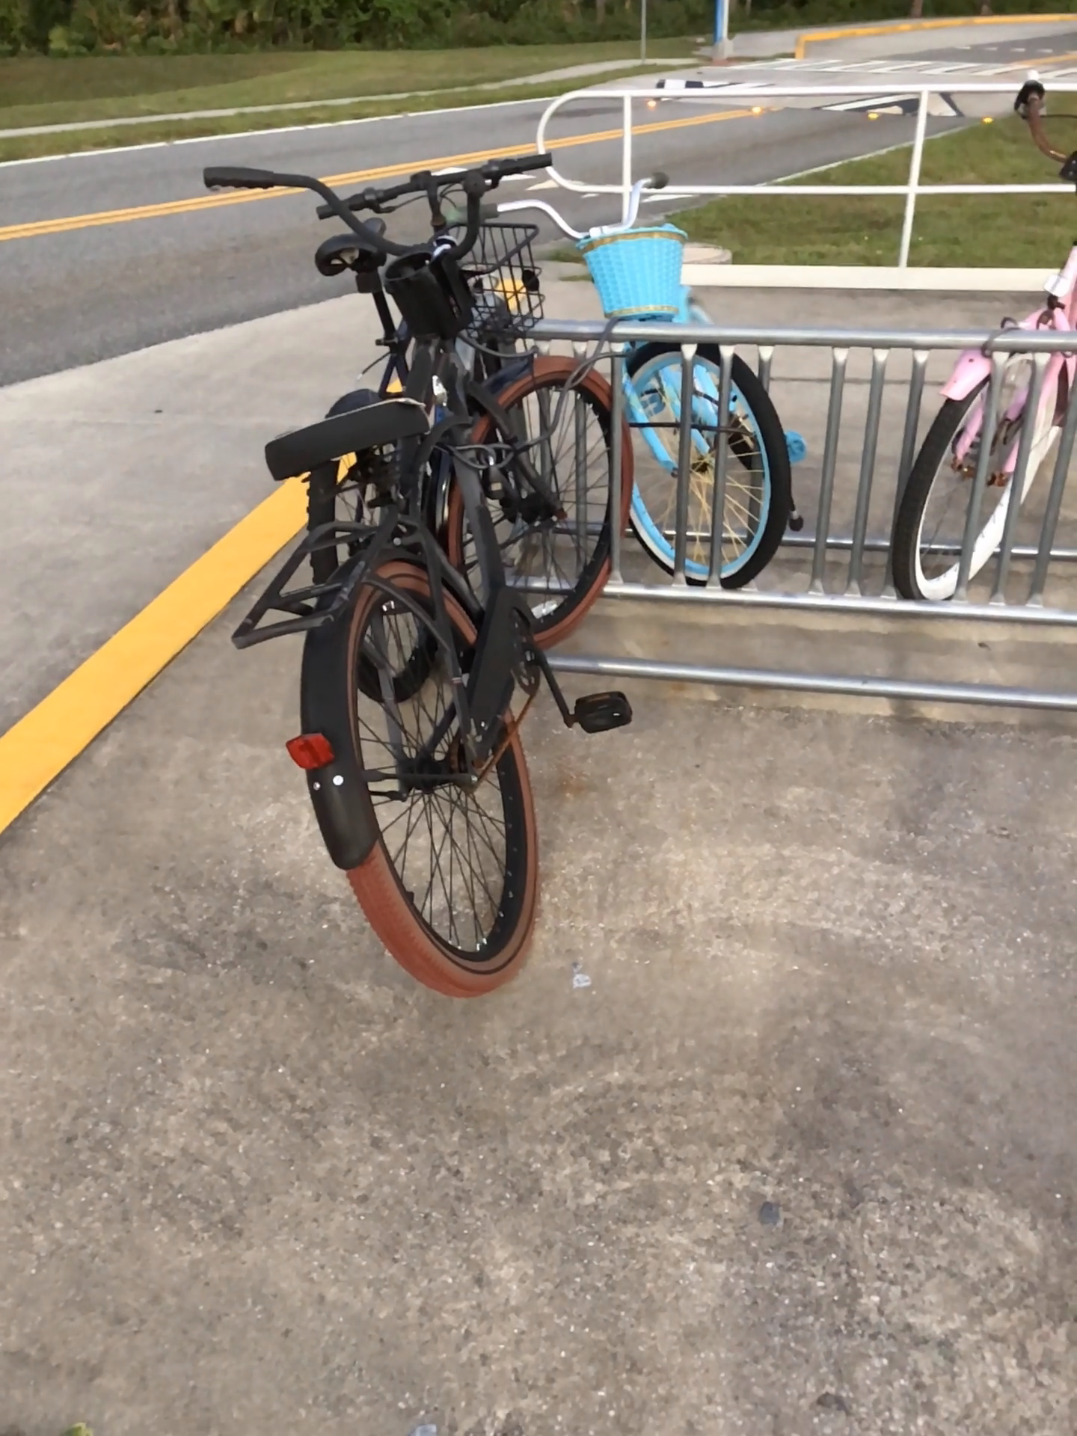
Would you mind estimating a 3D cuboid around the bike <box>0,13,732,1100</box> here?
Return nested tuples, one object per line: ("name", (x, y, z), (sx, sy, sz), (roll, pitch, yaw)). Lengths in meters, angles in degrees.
("bike", (-0.142, -0.466, 2.124), (0.829, 1.116, 1.732), (4, 37, 9))
